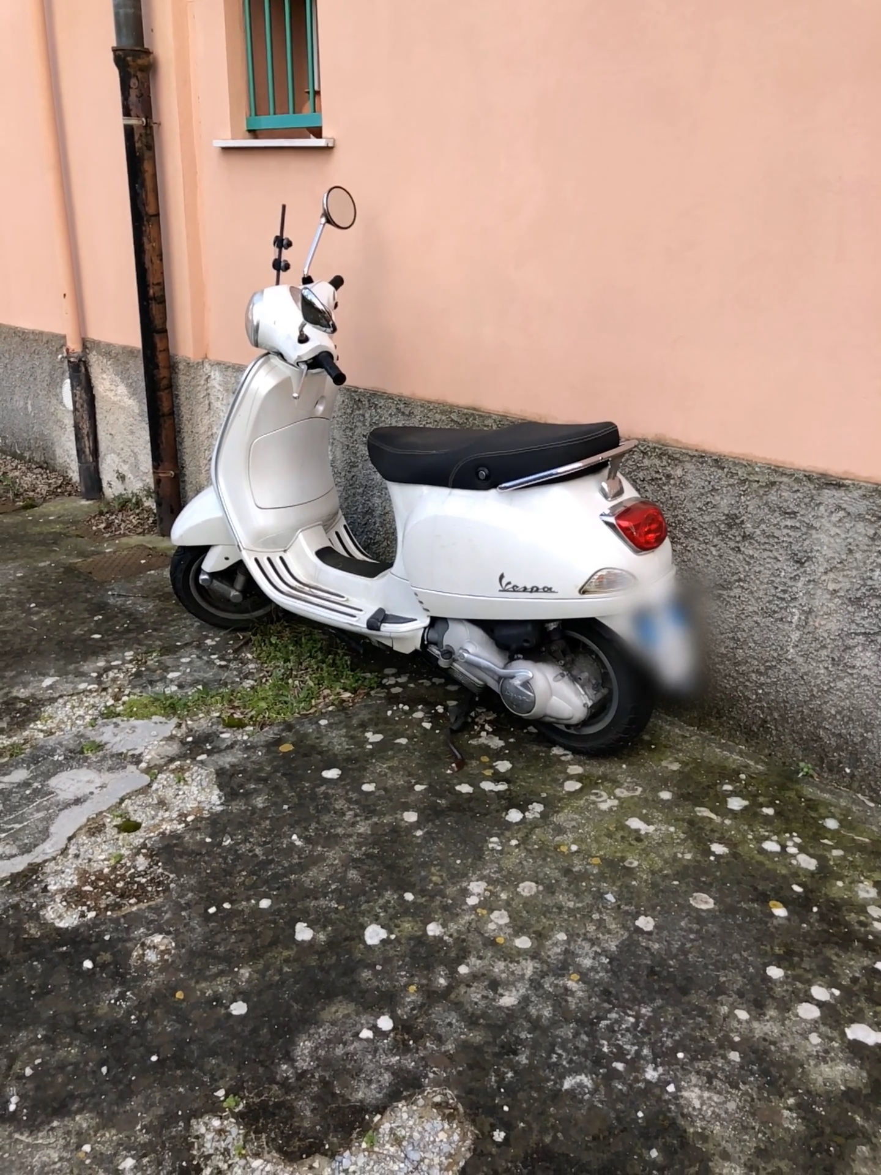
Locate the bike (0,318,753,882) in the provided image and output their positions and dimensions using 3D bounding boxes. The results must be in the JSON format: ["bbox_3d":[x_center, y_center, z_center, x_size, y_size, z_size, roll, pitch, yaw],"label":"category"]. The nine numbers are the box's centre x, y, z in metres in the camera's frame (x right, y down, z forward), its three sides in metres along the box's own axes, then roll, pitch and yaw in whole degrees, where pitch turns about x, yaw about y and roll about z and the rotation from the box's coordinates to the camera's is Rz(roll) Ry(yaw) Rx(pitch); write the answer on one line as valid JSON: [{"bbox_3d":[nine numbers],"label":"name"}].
[{"bbox_3d":[-0.253,-0.107,2.480,1.658,1.086,0.646,12,23,32],"label":"bike"}]
